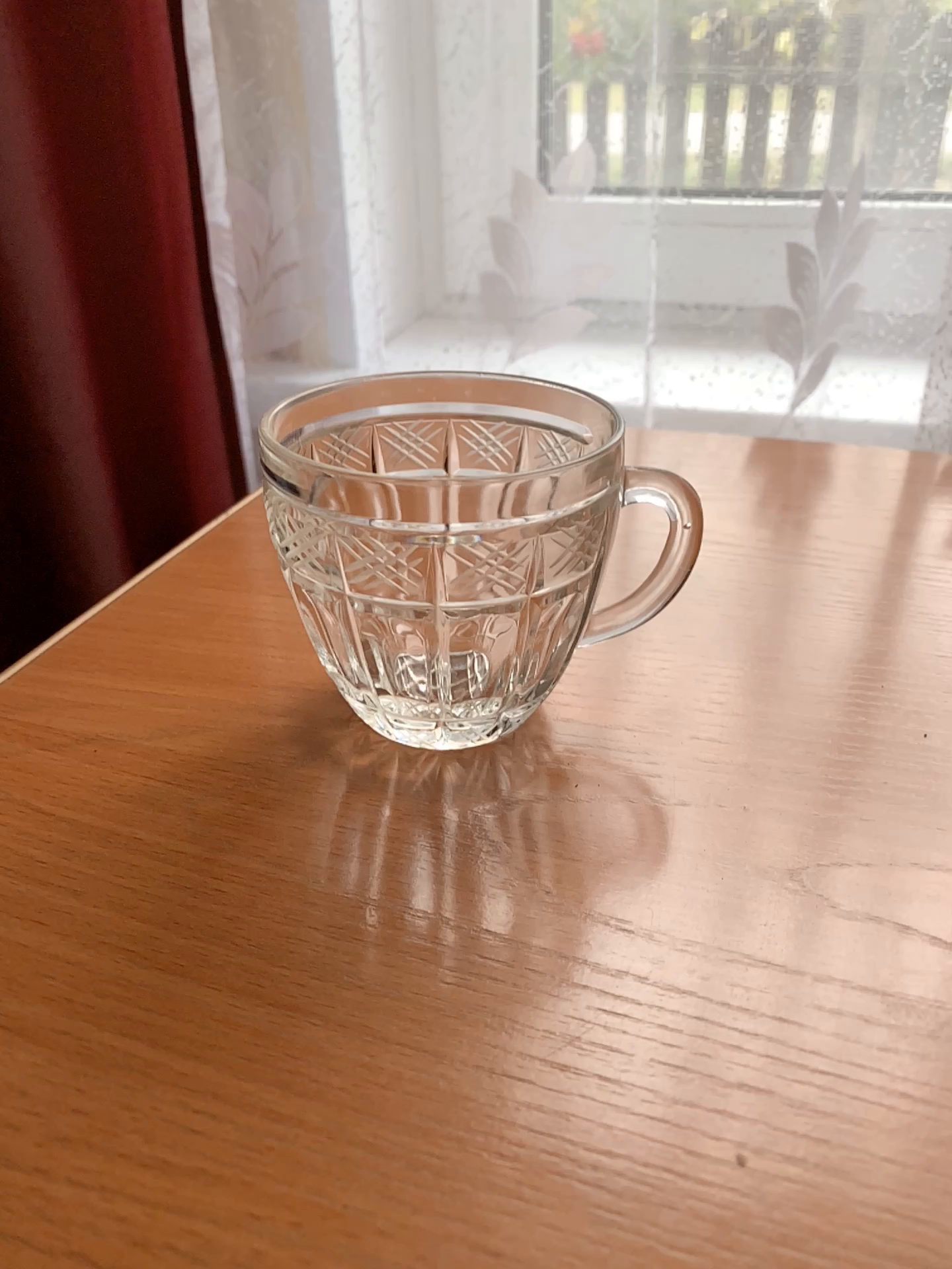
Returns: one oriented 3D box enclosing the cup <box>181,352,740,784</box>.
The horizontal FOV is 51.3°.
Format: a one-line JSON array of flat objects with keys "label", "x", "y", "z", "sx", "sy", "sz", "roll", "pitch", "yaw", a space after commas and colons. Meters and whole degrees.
[{"label": "cup", "x": 0.001, "y": -0.020, "z": 0.229, "sx": 0.100, "sy": 0.066, "sz": 0.083, "roll": 2, "pitch": 32, "yaw": 5}]
